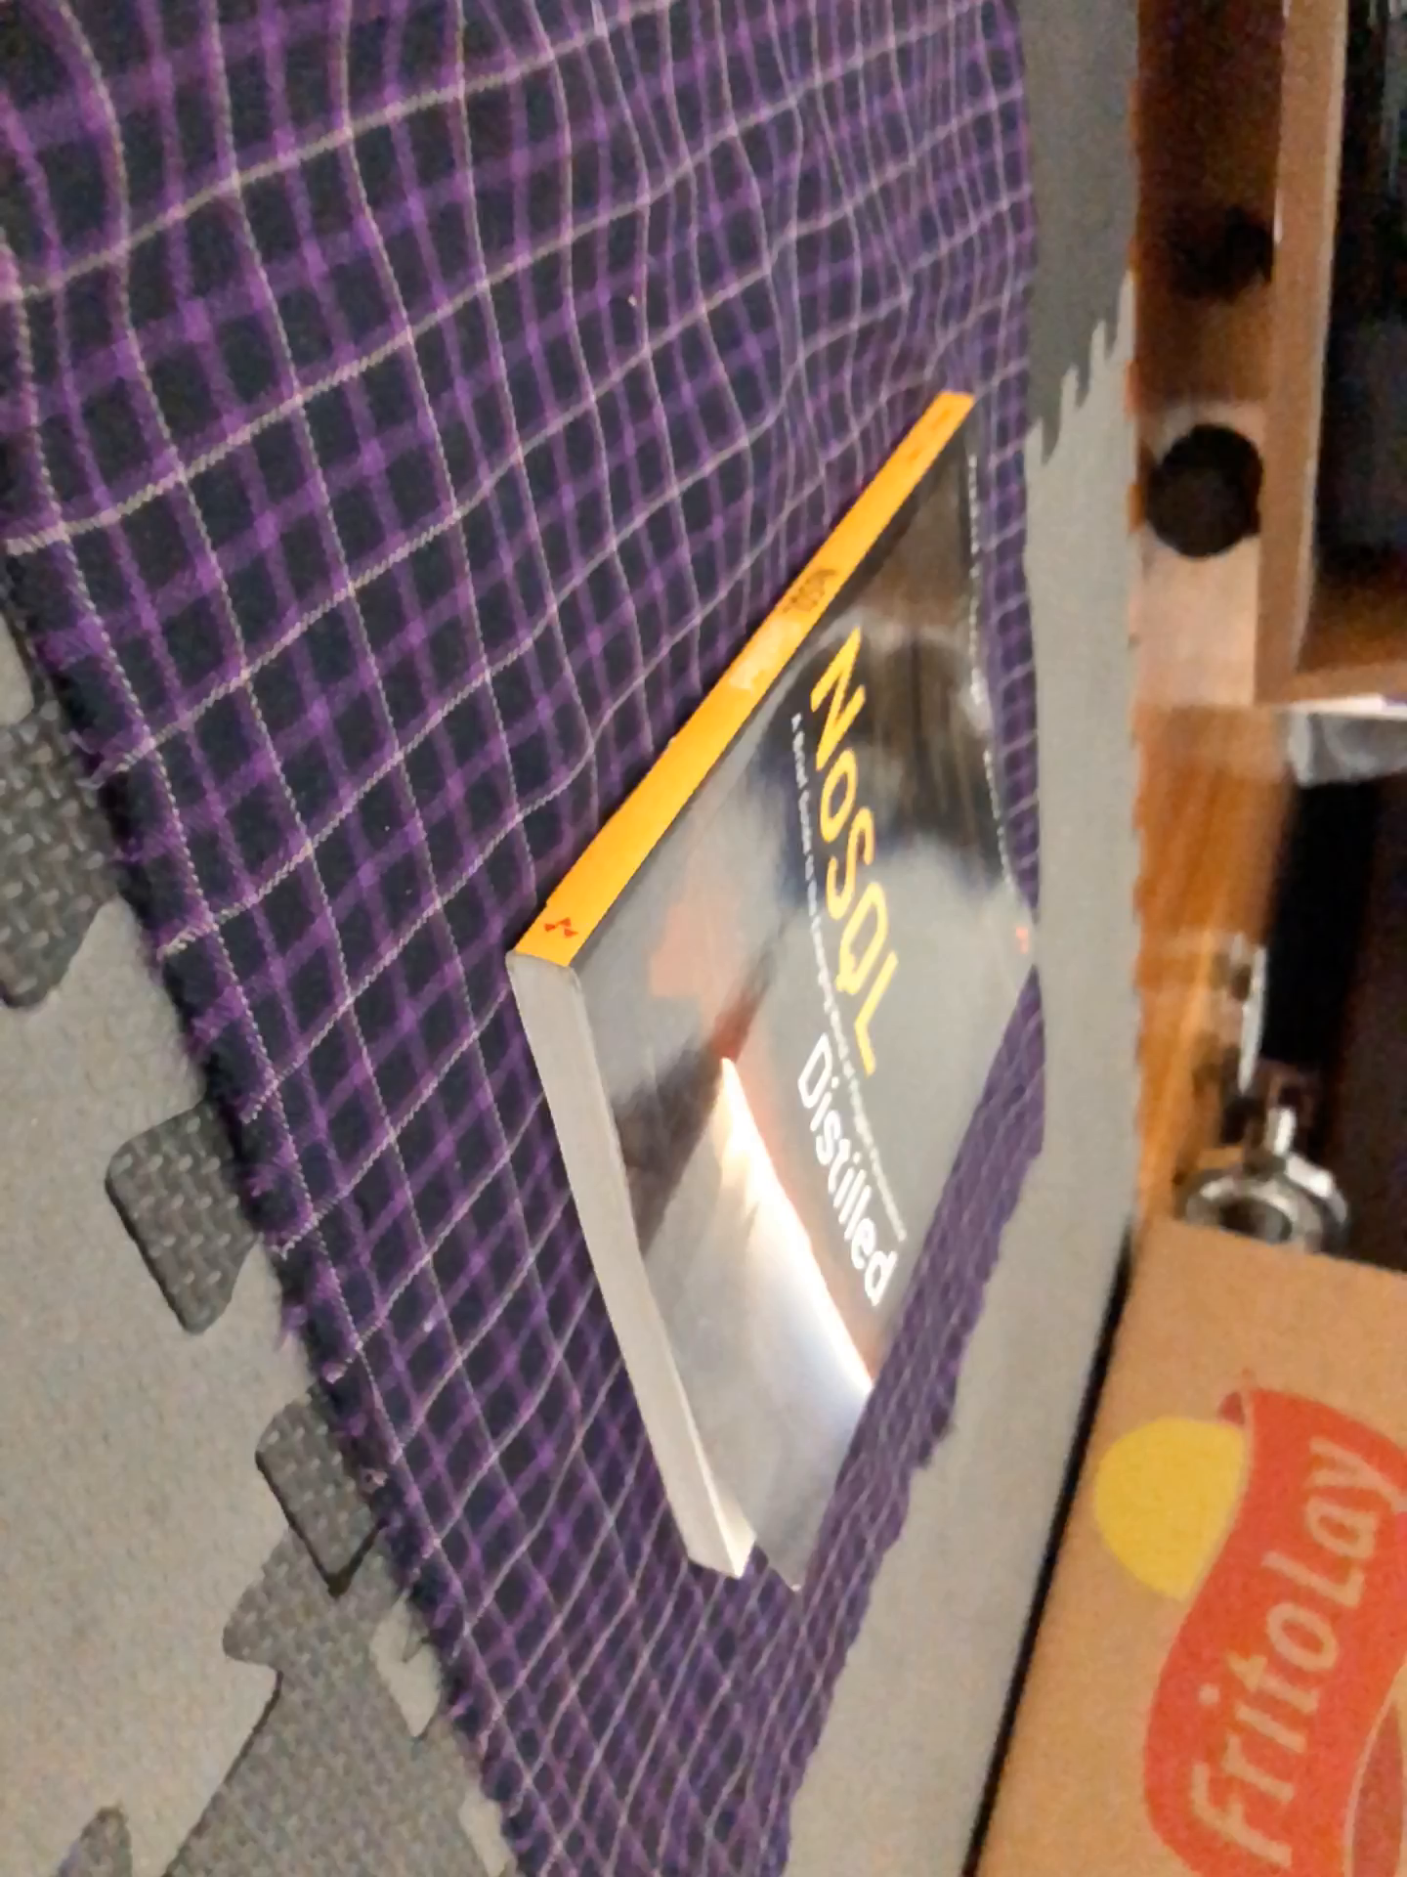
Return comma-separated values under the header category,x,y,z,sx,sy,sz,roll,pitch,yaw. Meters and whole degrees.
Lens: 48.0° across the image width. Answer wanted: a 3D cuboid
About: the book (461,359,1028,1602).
category,x,y,z,sx,sy,sz,roll,pitch,yaw
book,0.035,-0.003,0.390,0.251,0.020,0.190,-58,146,-44
